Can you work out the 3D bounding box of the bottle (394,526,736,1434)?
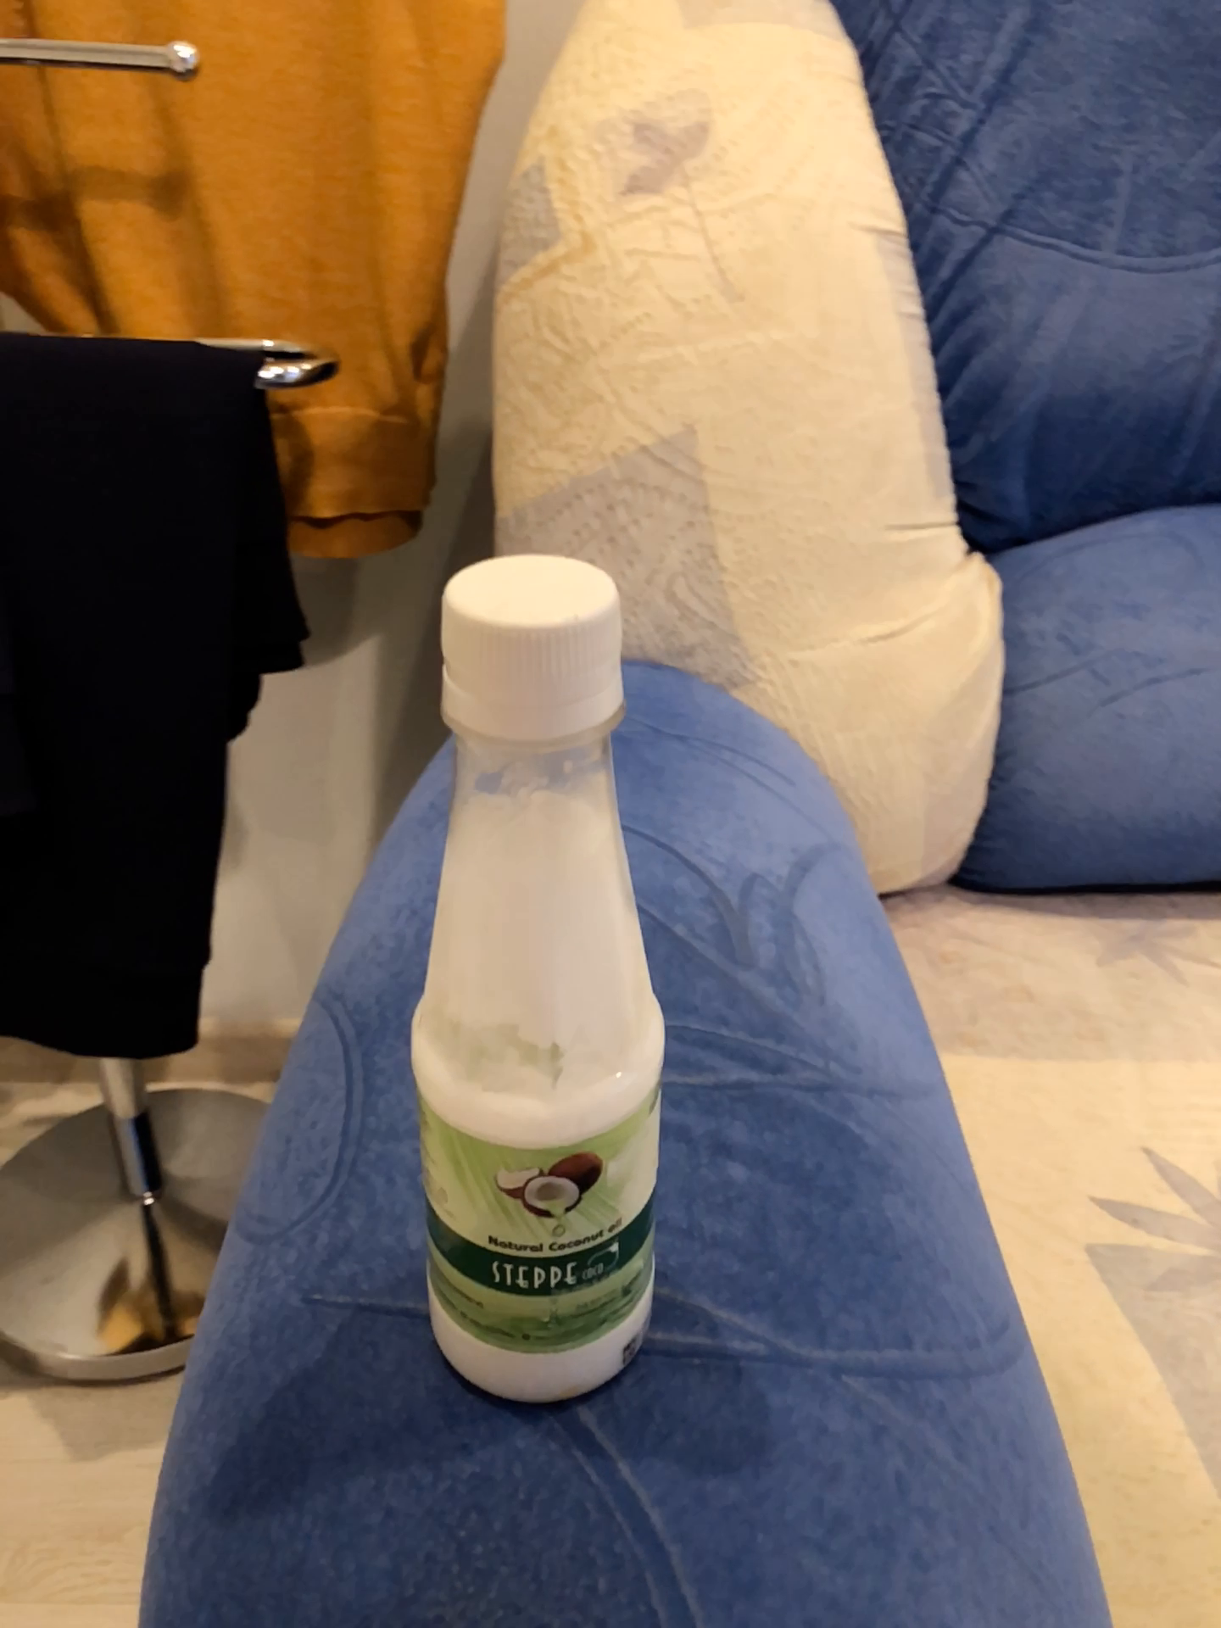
[{"bbox_3d":[-0.013,0.040,0.271,0.050,0.183,0.054,1,31,-1],"label":"bottle"}]
